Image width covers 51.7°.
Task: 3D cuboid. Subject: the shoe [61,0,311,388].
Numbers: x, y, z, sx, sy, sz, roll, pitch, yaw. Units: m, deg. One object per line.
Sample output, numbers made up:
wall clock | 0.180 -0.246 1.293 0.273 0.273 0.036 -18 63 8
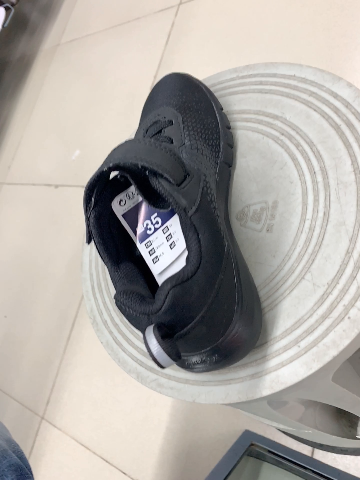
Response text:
shoe | -0.012 -0.044 0.248 0.100 0.080 0.250 -24 60 25
